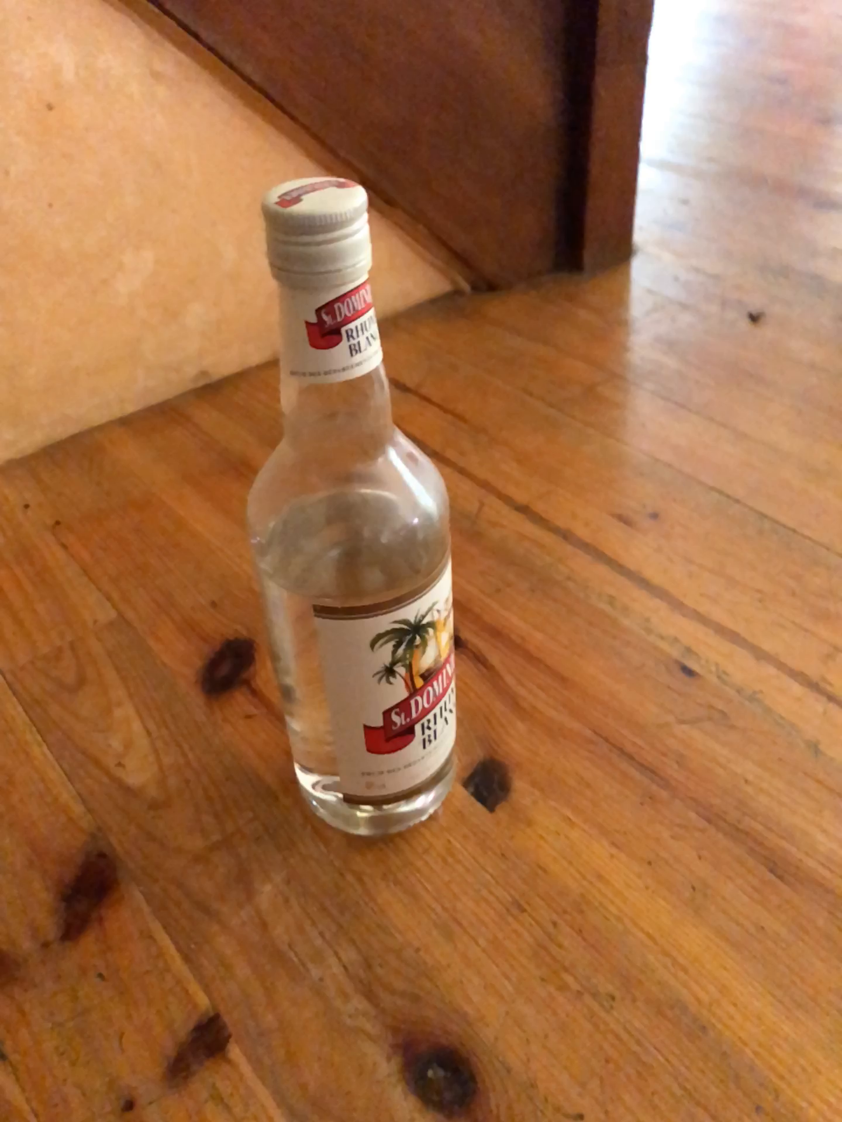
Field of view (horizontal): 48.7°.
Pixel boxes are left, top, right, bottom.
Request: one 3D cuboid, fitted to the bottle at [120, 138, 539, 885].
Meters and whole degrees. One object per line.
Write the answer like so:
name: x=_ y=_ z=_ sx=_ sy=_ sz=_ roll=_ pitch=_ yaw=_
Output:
bottle: x=-0.018 y=-0.004 z=0.348 sx=0.080 sy=0.258 sz=0.091 roll=24 pitch=47 yaw=29
